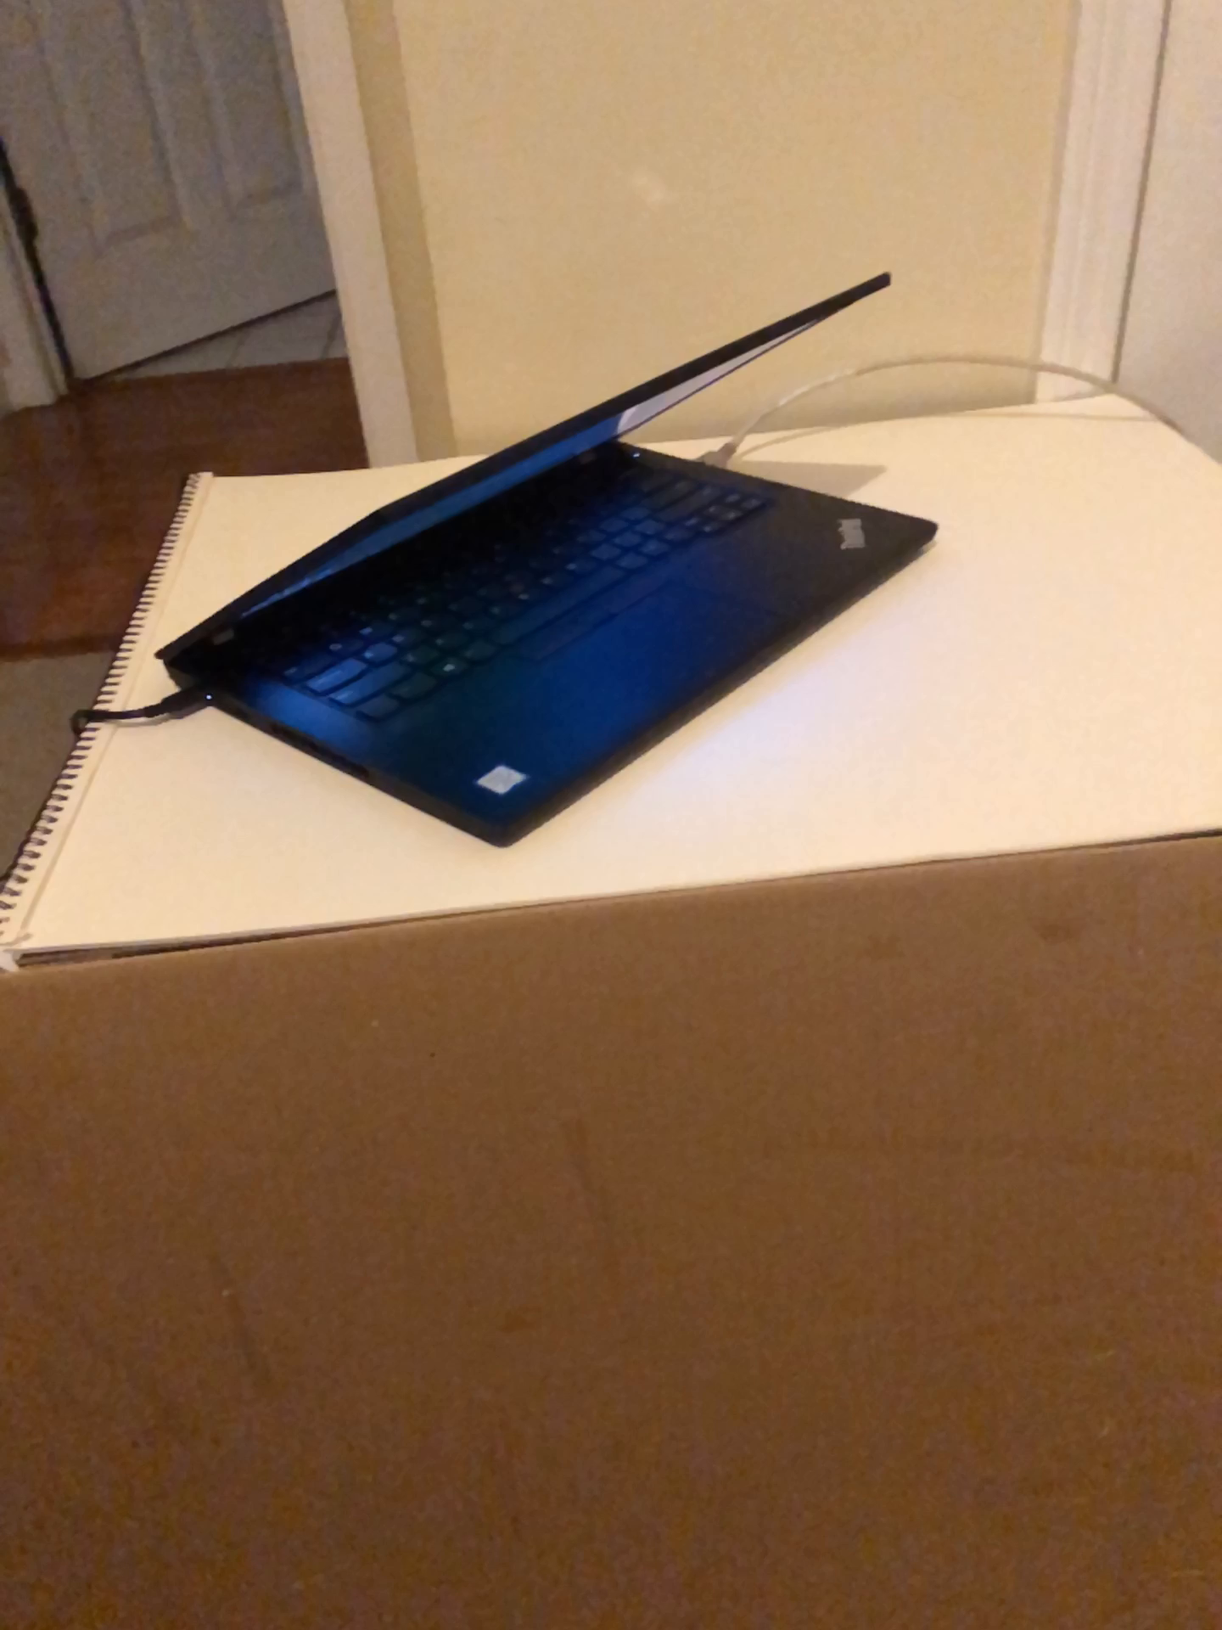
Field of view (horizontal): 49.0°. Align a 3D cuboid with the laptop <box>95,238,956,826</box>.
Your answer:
[{"bbox_3d":[-0.025,-0.159,0.625,0.227,0.115,0.318,24,45,35],"label":"laptop"}]
